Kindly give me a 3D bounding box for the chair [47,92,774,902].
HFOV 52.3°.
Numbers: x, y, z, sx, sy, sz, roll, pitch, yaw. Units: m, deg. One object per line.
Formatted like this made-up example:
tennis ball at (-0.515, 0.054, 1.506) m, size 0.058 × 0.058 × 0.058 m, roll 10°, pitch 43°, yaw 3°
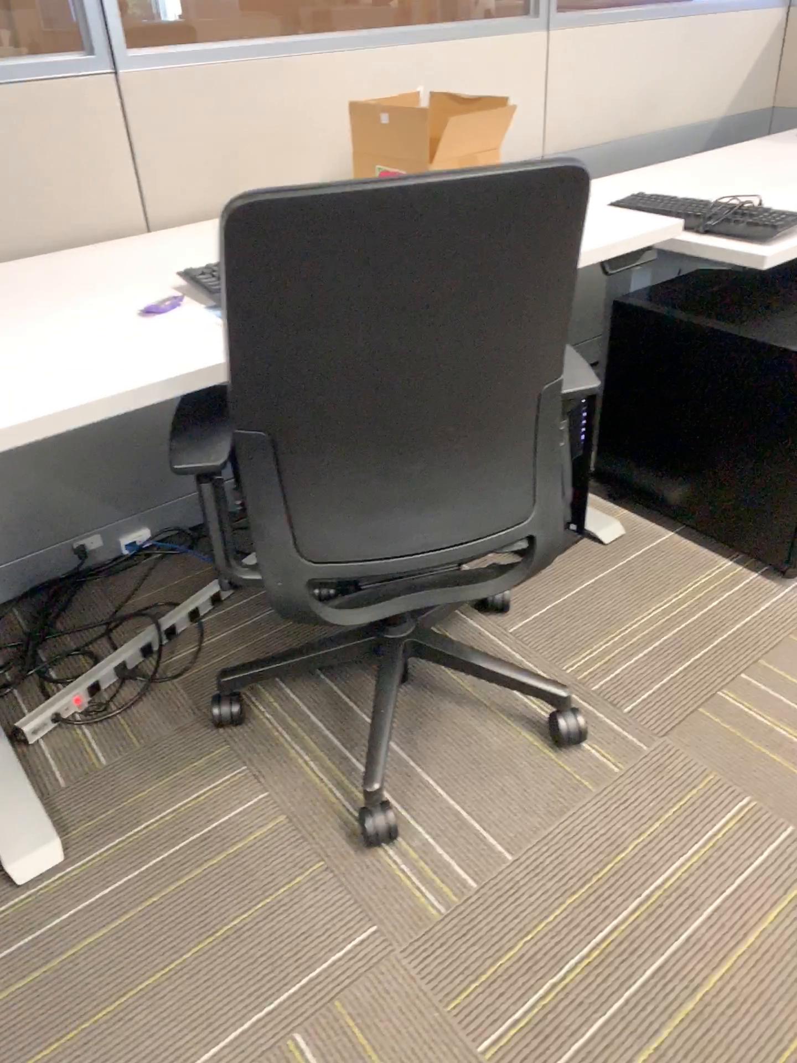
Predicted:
chair at (-0.037, -0.135, 1.324) m, size 0.700 × 0.934 × 0.754 m, roll -17°, pitch 35°, yaw -20°
